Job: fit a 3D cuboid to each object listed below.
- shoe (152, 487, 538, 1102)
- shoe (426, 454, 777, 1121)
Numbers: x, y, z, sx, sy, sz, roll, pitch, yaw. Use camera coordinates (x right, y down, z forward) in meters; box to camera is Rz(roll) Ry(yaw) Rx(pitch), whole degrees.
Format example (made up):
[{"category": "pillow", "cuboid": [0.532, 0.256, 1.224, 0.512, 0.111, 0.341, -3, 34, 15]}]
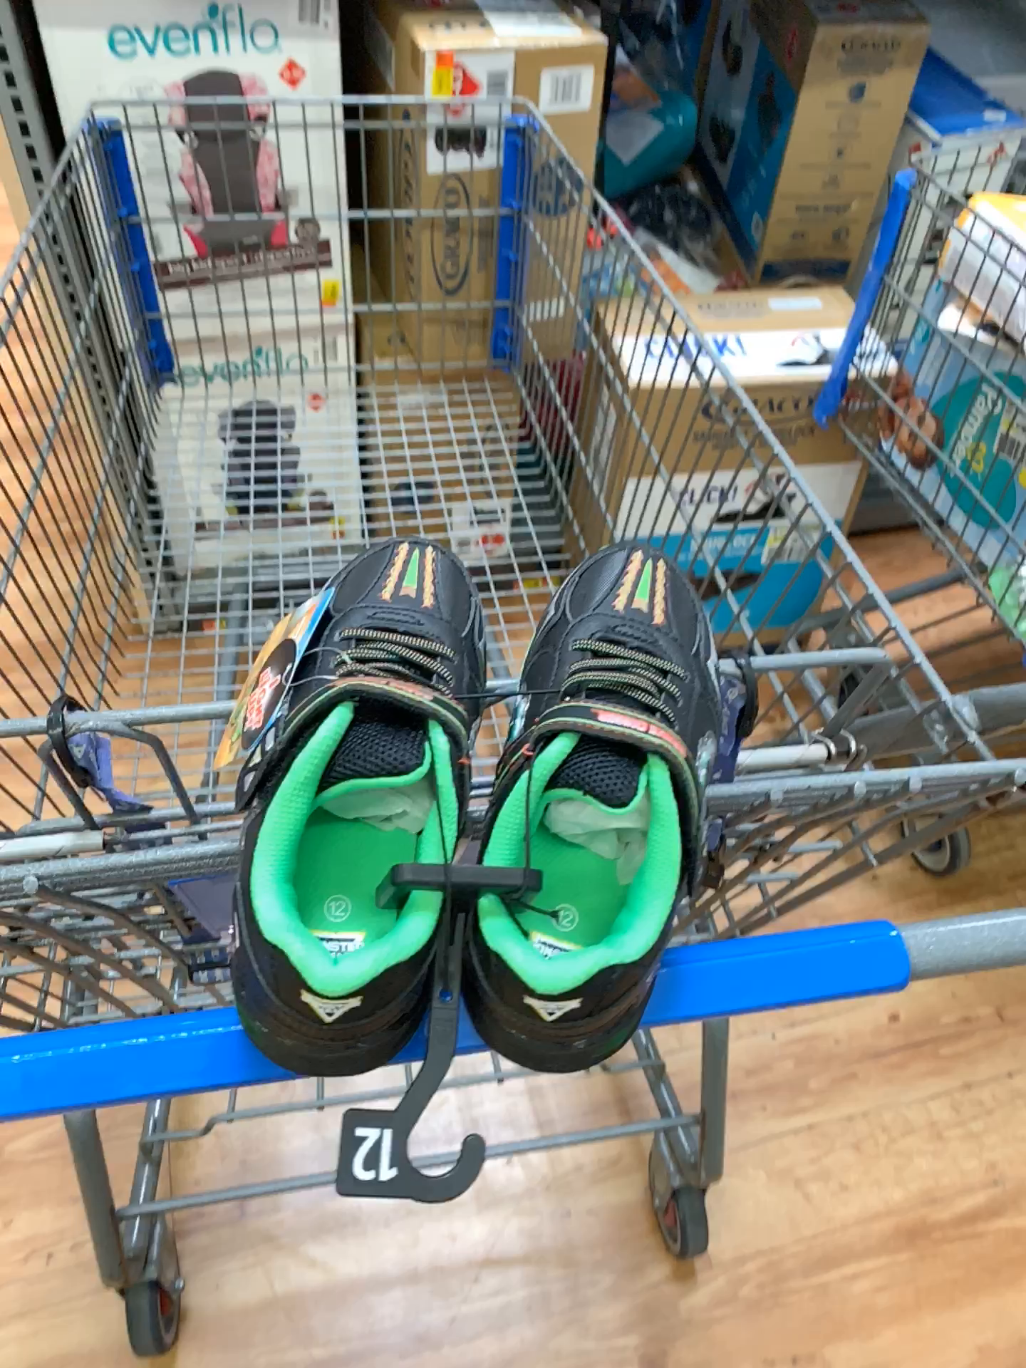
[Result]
[{"category": "shoe", "cuboid": [-0.046, 0.032, 0.379, 0.095, 0.093, 0.195, 5, 50, 0]}, {"category": "shoe", "cuboid": [0.037, 0.025, 0.376, 0.089, 0.086, 0.214, 10, 50, 4]}]
